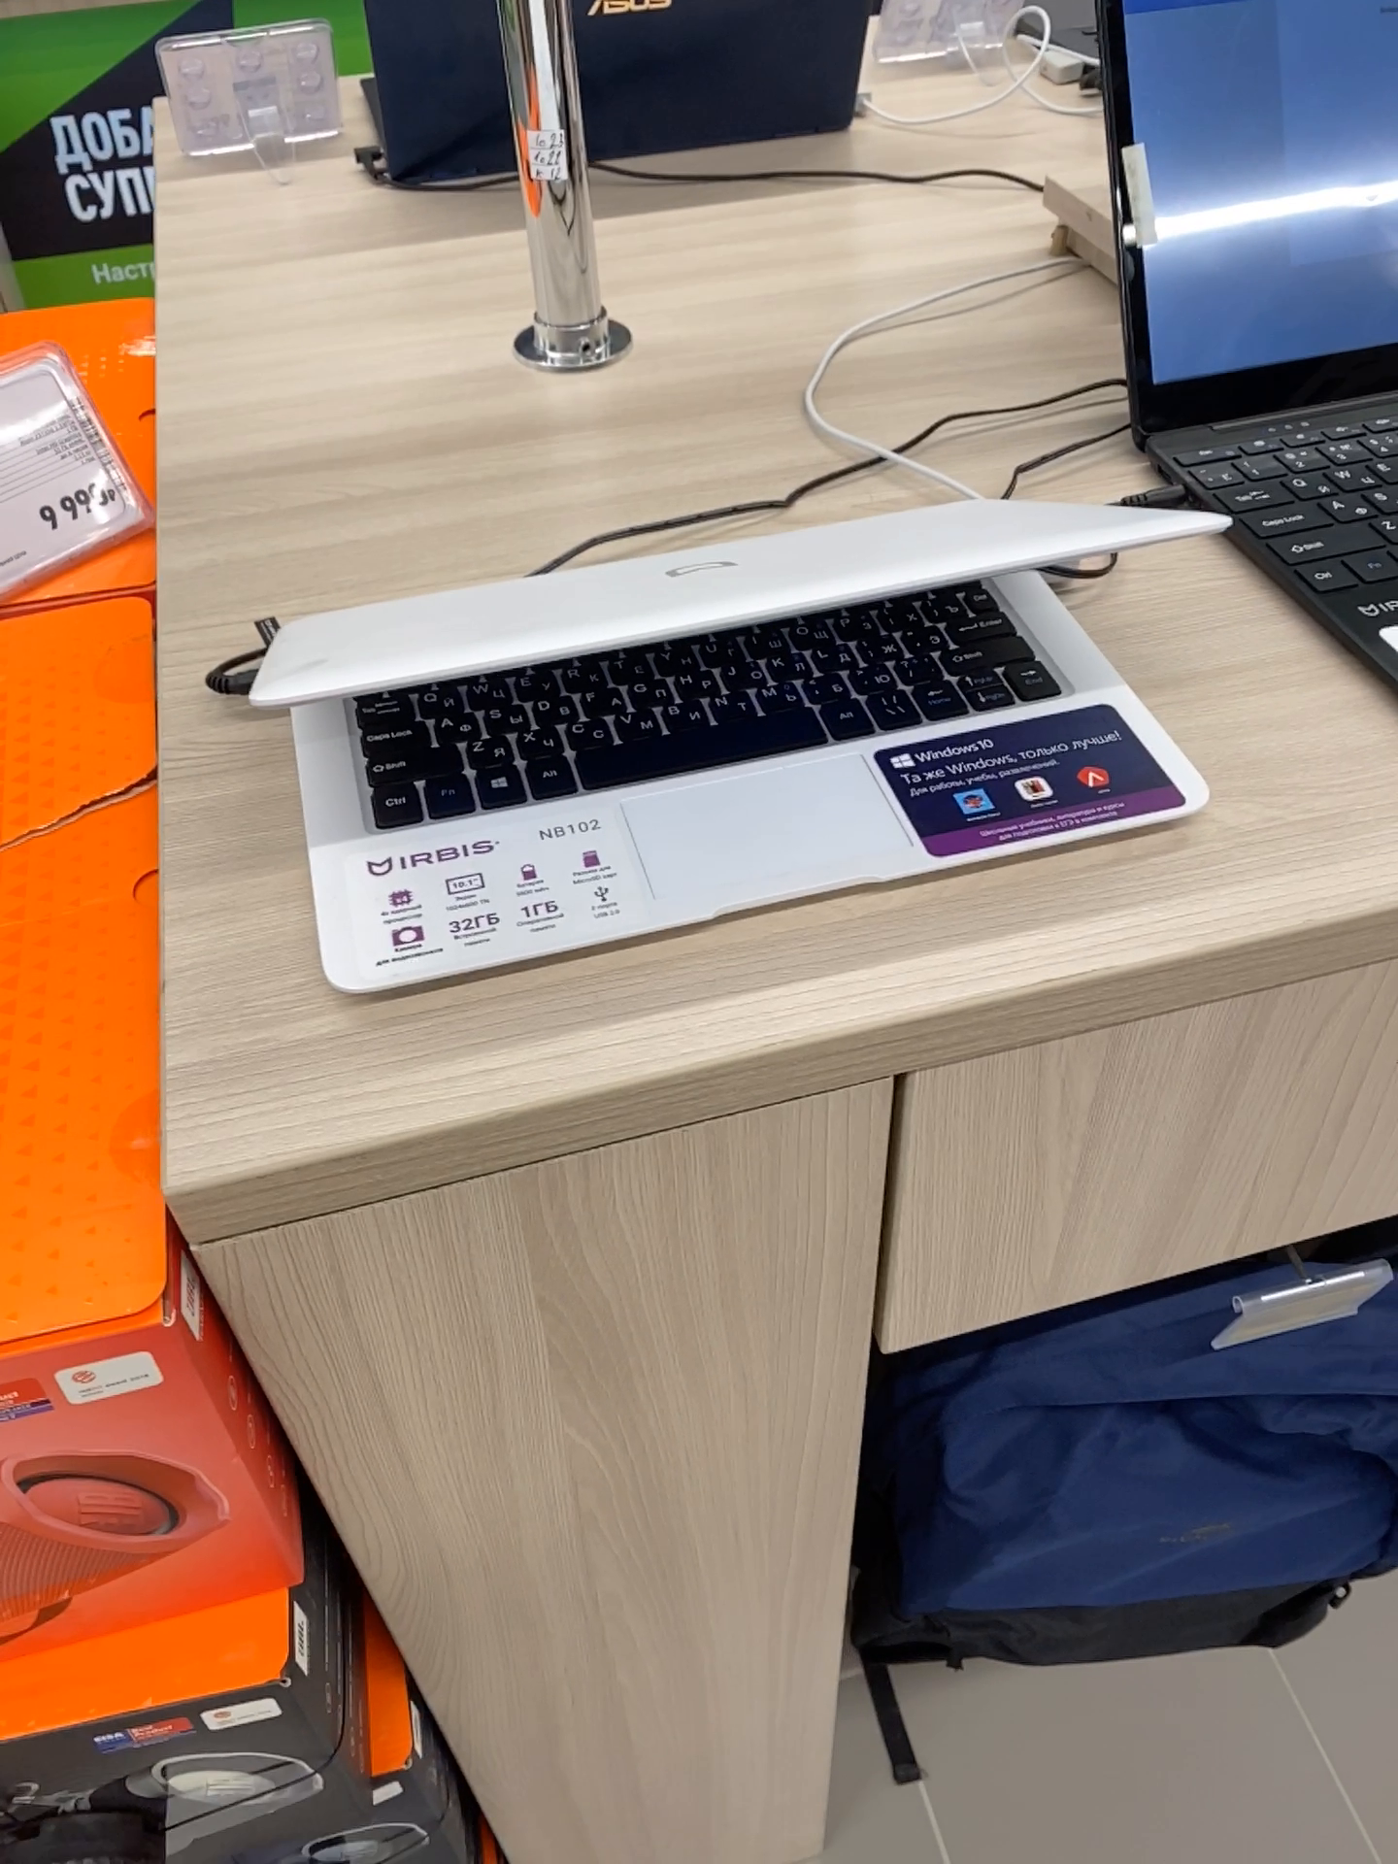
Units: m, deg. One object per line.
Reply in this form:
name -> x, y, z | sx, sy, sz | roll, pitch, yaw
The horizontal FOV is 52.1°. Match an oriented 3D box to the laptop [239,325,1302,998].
laptop -> 0.008, -0.100, 0.457 | 0.280, 0.078, 0.179 | -12, 47, -9
